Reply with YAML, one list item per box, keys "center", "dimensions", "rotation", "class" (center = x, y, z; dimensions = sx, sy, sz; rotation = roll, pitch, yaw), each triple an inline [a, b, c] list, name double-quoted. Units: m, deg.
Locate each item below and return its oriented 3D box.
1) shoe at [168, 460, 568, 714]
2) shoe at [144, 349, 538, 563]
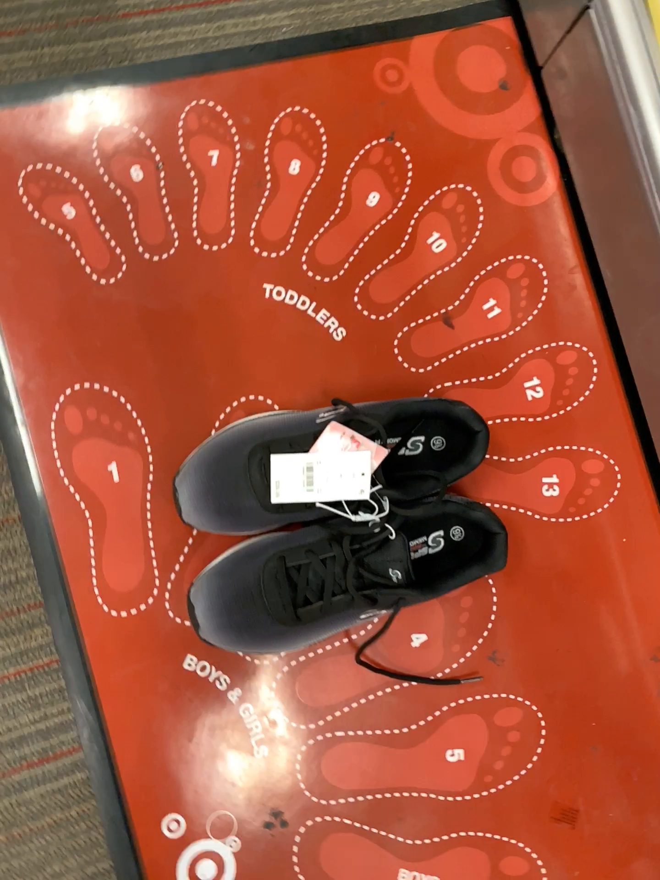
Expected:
- center: [0.024, 0.099, 0.509]
  dimensions: [0.260, 0.100, 0.100]
  rotation: [-15, 87, -10]
  class: "shoe"
- center: [0.006, 0.011, 0.515]
  dimensions: [0.260, 0.100, 0.100]
  rotation: [-11, 87, -9]
  class: "shoe"
